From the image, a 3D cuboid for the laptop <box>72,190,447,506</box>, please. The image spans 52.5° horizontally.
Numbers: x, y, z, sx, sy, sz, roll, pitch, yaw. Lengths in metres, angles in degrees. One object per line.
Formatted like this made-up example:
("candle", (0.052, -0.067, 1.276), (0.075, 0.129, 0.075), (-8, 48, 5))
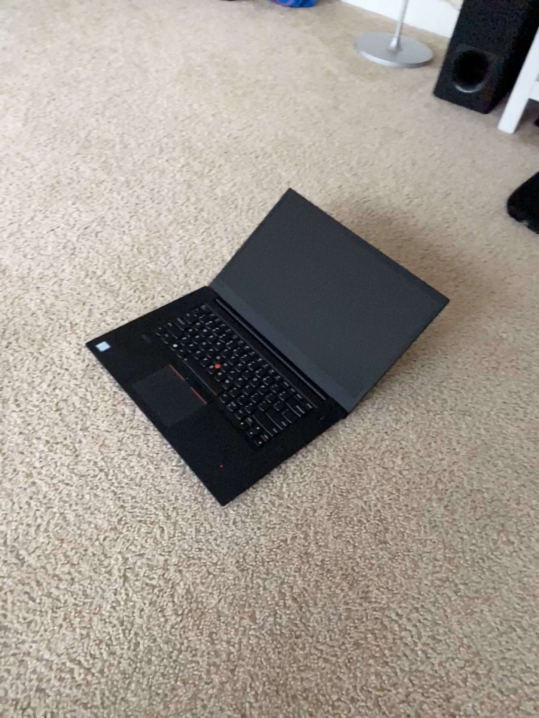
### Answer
("laptop", (-0.013, -0.055, 0.870), (0.433, 0.141, 0.360), (-31, 60, -29))
